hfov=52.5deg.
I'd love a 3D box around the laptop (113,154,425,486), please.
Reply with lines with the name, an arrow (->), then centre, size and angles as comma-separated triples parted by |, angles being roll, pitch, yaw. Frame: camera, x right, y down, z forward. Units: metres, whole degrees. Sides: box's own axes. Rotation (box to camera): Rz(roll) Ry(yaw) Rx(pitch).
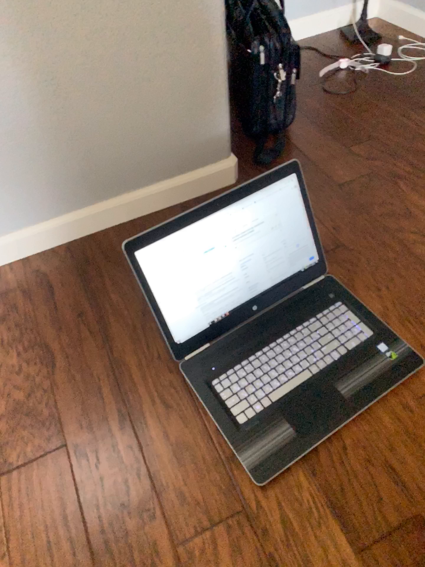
laptop -> 0.119, 0.035, 0.807 | 0.411, 0.233, 0.424 | -29, 55, -18
